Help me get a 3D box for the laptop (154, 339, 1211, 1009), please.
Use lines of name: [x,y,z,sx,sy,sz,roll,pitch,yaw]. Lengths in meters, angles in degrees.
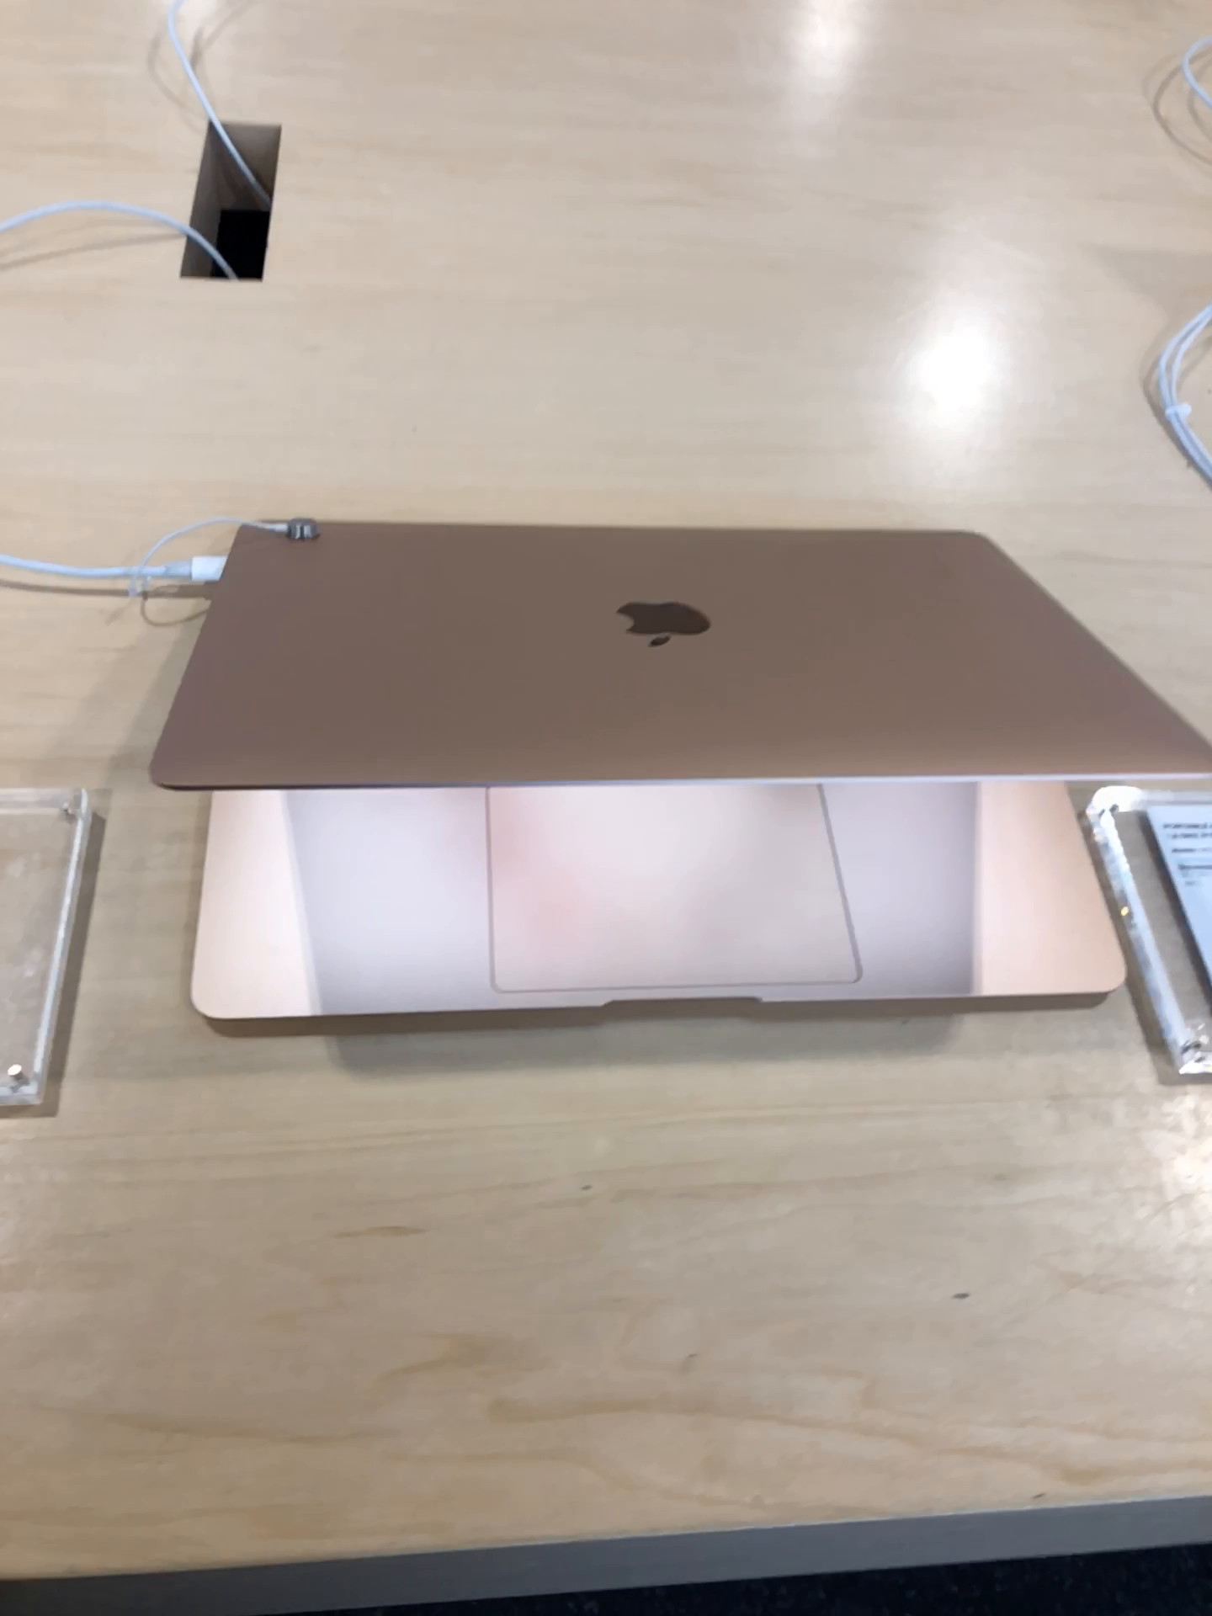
laptop: [0.022,-0.052,0.444,0.288,0.093,0.203,-1,54,-7]
